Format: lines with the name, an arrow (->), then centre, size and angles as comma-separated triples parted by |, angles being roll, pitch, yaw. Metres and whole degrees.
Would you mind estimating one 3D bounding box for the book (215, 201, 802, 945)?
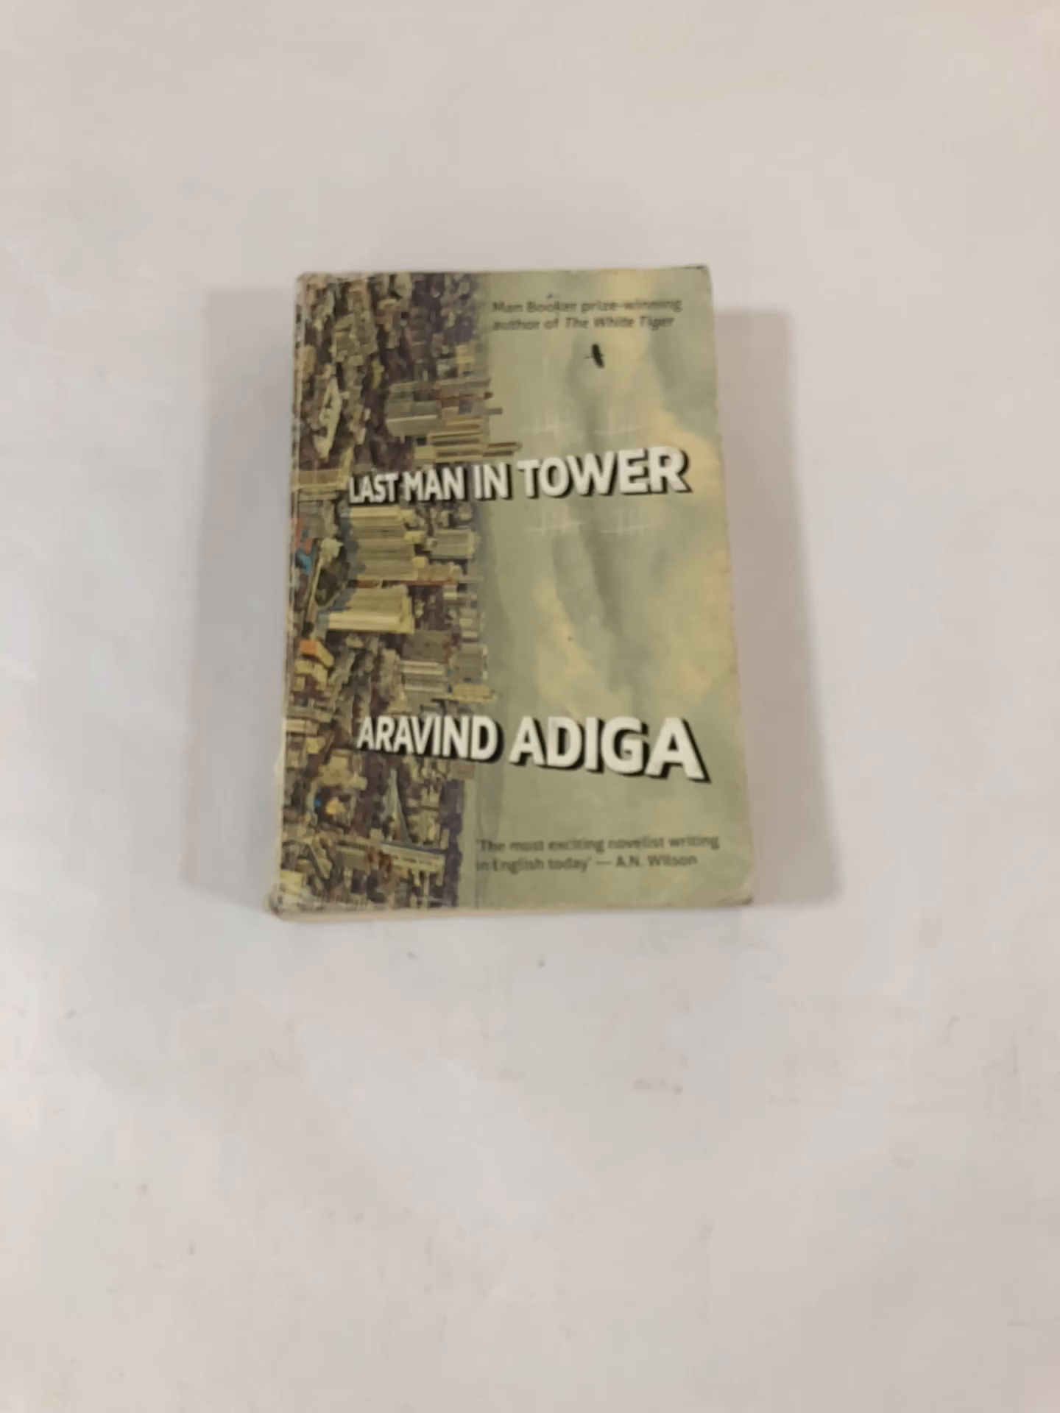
book -> -0.009, -0.045, 0.352 | 0.150, 0.030, 0.220 | -2, 73, -1
